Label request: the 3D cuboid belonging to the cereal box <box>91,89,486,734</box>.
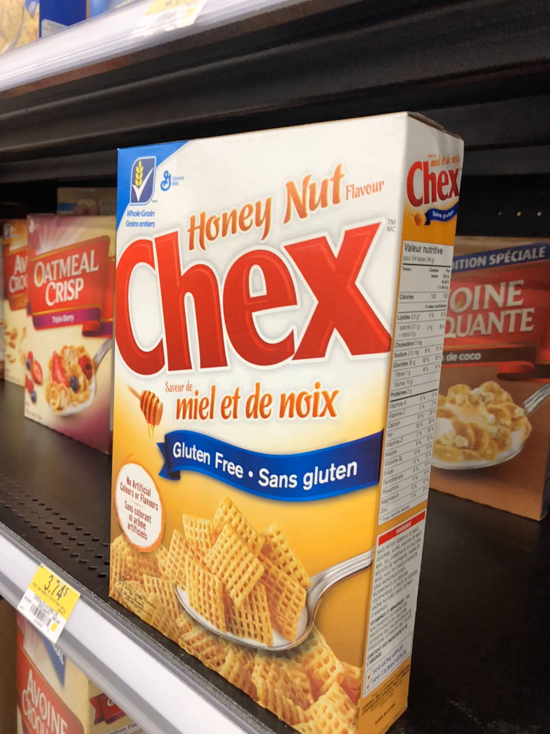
[{"bbox_3d":[-0.016,0.020,0.326,0.210,0.279,0.050,12,12,41],"label":"cereal box"}]
